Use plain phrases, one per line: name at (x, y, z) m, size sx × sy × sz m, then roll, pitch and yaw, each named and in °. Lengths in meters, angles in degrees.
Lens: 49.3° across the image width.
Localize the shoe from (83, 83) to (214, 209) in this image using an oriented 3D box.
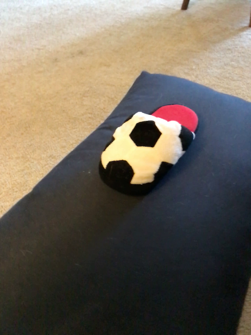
shoe at (0.047, -0.049, 0.463) m, size 0.108 × 0.072 × 0.214 m, roll 28°, pitch 55°, yaw 26°
